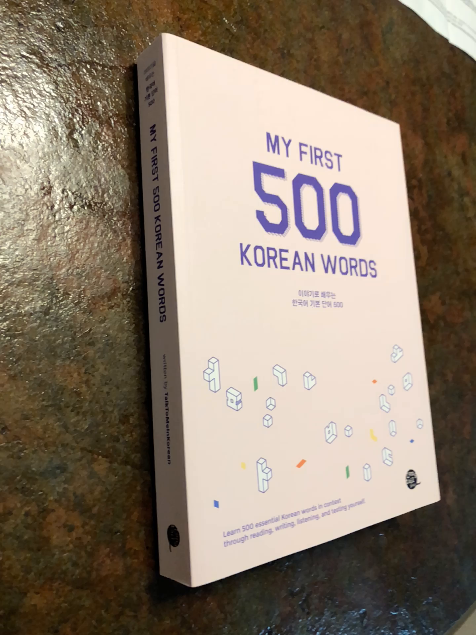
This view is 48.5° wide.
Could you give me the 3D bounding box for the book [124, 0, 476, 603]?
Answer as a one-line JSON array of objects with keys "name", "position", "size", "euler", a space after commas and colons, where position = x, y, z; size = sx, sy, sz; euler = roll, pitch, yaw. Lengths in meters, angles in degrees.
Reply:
[{"name": "book", "position": [0.042, -0.015, 0.263], "size": [0.191, 0.030, 0.230], "euler": [1, 81, -39]}]
